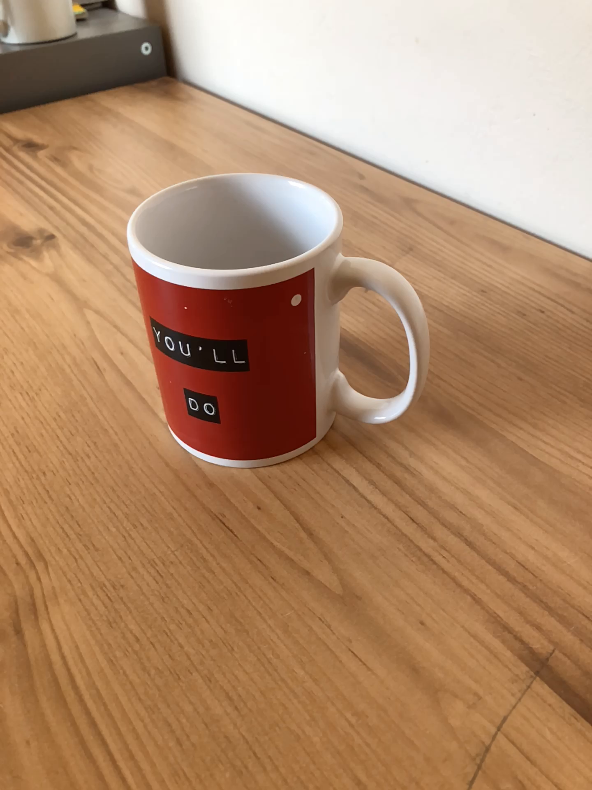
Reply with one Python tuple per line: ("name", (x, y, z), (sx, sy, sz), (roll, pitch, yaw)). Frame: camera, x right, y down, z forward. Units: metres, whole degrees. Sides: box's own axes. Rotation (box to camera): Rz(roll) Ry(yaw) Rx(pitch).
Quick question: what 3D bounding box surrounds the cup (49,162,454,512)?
("cup", (-0.011, -0.030, 0.271), (0.123, 0.086, 0.091), (13, 42, 18))
